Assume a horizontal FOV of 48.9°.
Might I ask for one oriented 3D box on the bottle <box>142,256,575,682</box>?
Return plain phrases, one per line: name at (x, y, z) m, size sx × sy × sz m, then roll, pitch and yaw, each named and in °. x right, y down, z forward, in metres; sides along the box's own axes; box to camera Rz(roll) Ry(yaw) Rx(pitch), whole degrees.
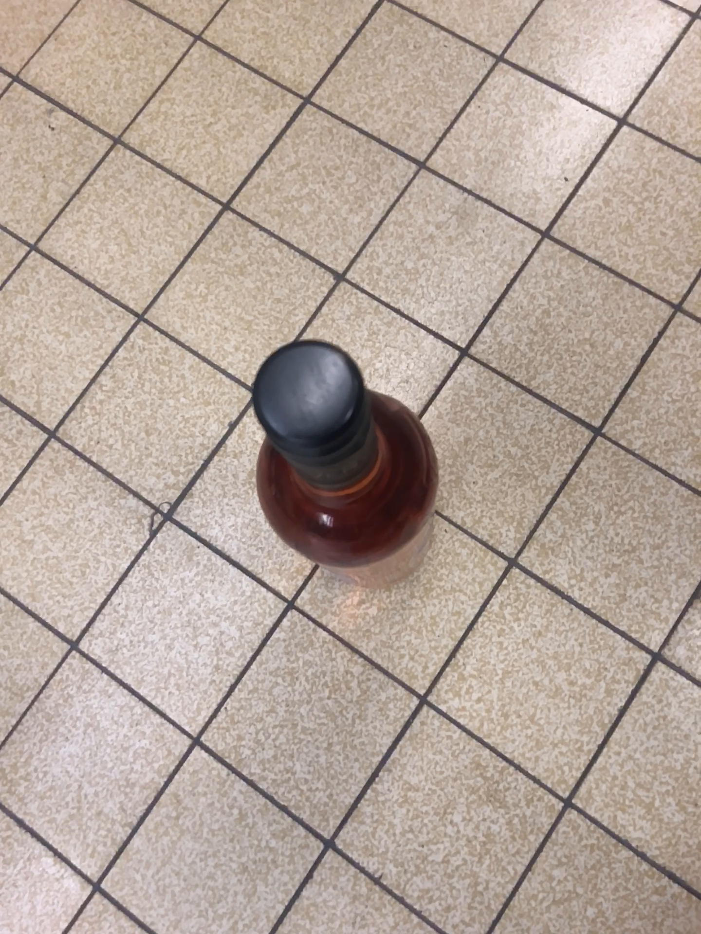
bottle at (0.012, 0.029, 0.338) m, size 0.080 × 0.300 × 0.080 m, roll -1°, pitch 78°, yaw 5°
